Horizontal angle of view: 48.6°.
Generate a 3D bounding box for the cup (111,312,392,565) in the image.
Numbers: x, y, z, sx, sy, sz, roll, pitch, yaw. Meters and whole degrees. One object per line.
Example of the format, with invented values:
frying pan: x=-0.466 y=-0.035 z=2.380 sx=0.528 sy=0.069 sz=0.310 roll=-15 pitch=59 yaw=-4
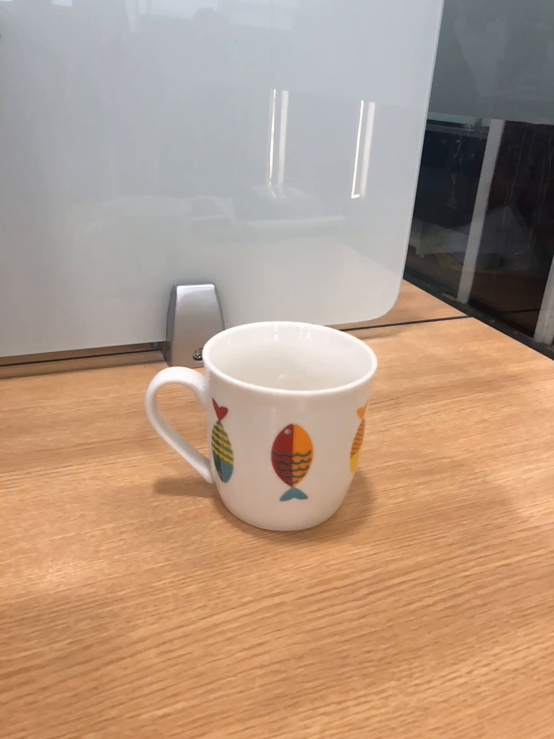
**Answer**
cup: x=-0.014 y=0.030 z=0.295 sx=0.110 sy=0.090 sz=0.080 roll=2 pitch=25 yaw=-4
